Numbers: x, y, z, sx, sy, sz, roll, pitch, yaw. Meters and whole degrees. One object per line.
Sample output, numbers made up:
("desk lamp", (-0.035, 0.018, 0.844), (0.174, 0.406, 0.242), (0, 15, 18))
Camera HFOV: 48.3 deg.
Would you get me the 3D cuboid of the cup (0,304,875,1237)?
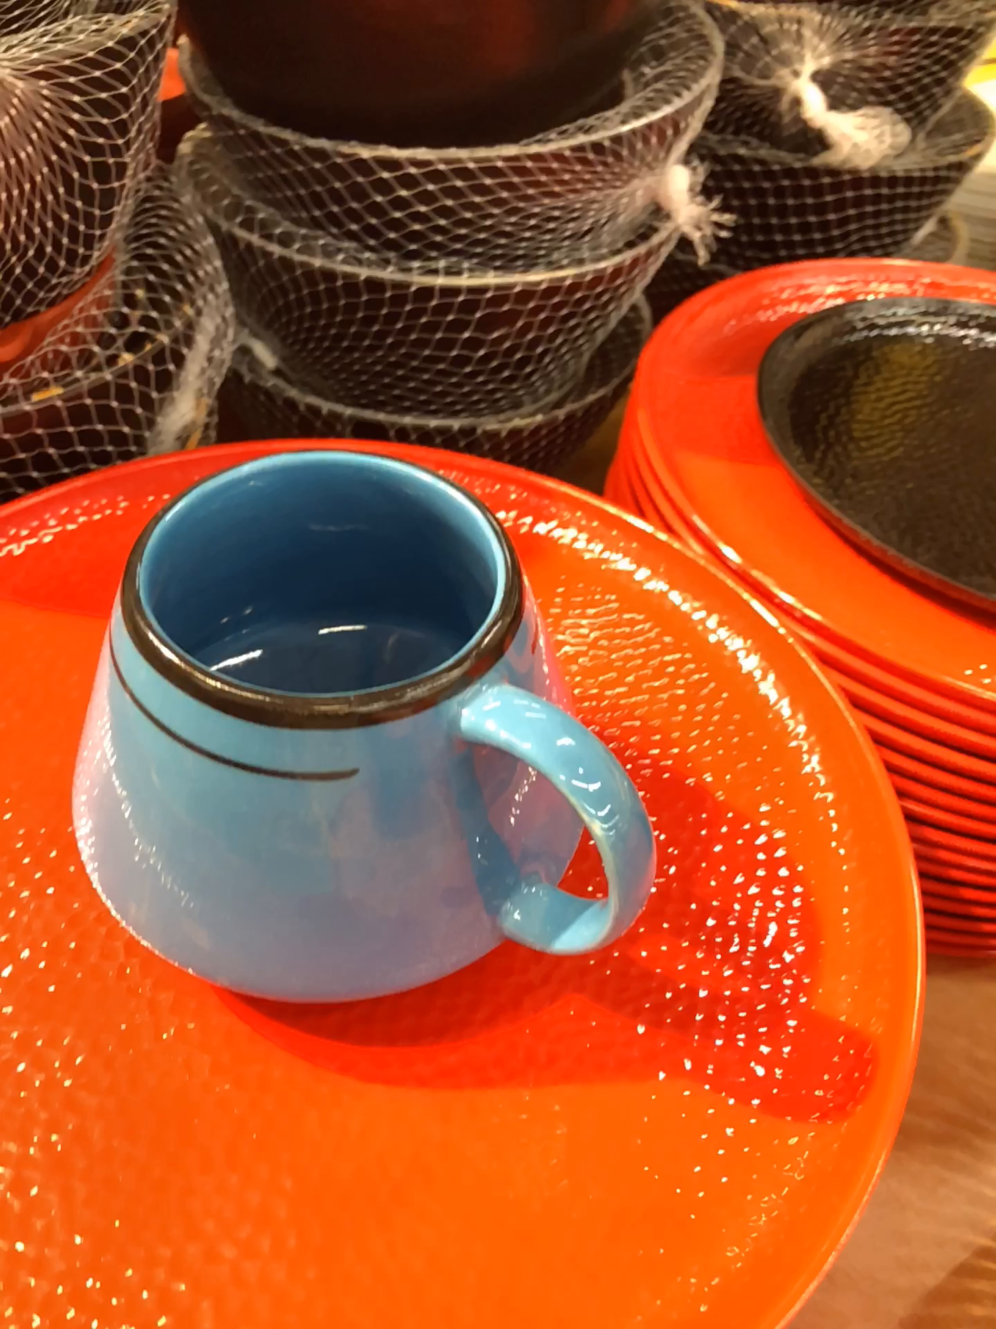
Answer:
("cup", (-0.022, 0.010, 0.230), (0.140, 0.089, 0.111), (30, 48, 20))
